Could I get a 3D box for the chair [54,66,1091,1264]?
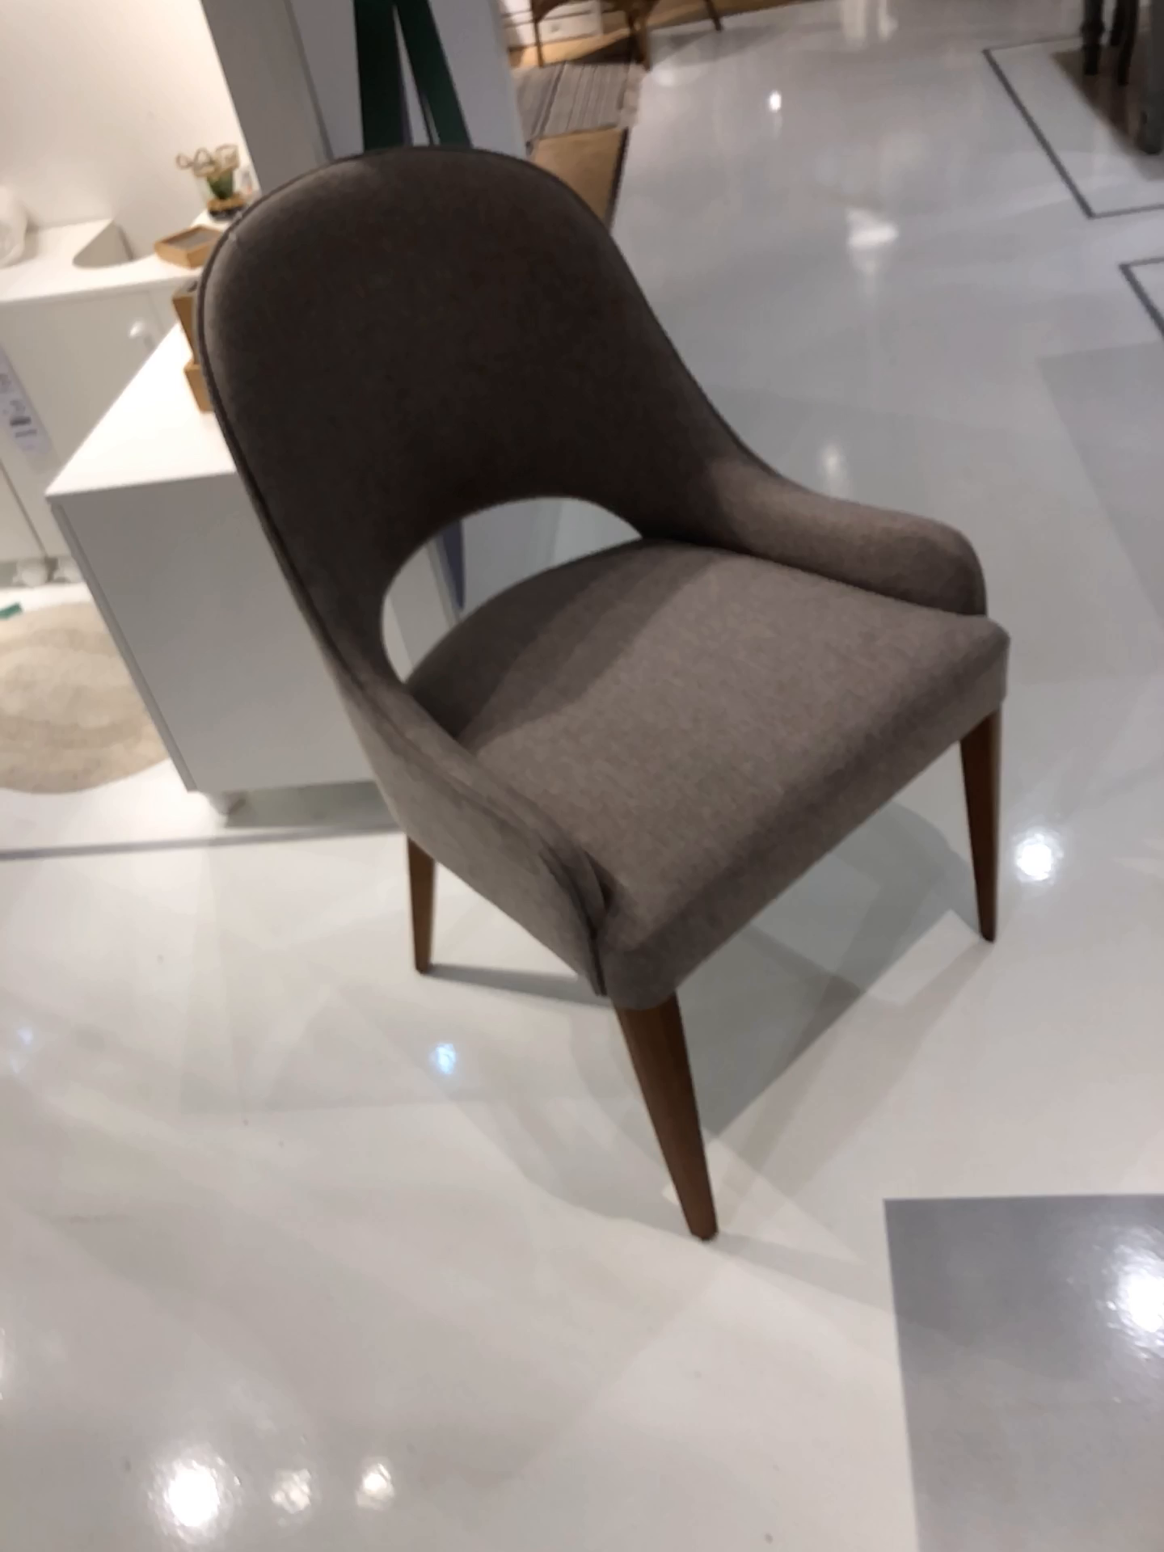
[{"bbox_3d":[0.041,-0.129,1.304,0.572,0.893,0.613,-36,45,-26],"label":"chair"}]
